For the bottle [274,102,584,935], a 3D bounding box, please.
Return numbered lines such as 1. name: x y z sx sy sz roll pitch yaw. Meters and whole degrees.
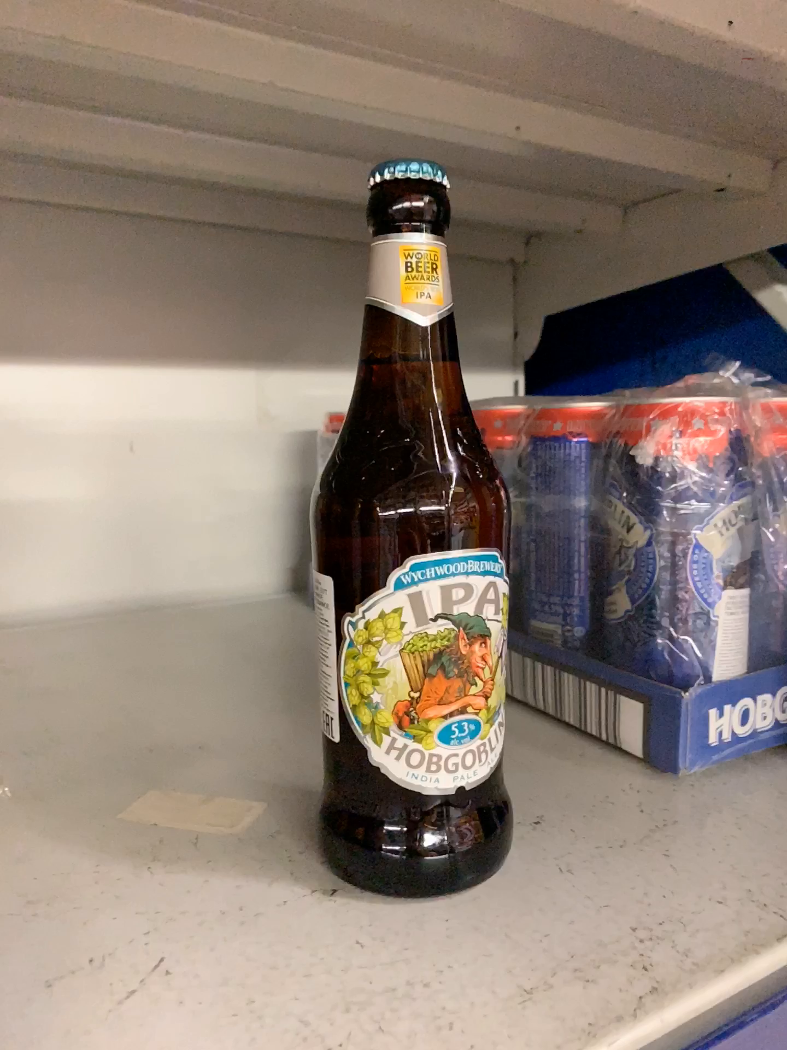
1. bottle: 0.010 -0.002 0.296 0.080 0.250 0.080 -1 6 0
